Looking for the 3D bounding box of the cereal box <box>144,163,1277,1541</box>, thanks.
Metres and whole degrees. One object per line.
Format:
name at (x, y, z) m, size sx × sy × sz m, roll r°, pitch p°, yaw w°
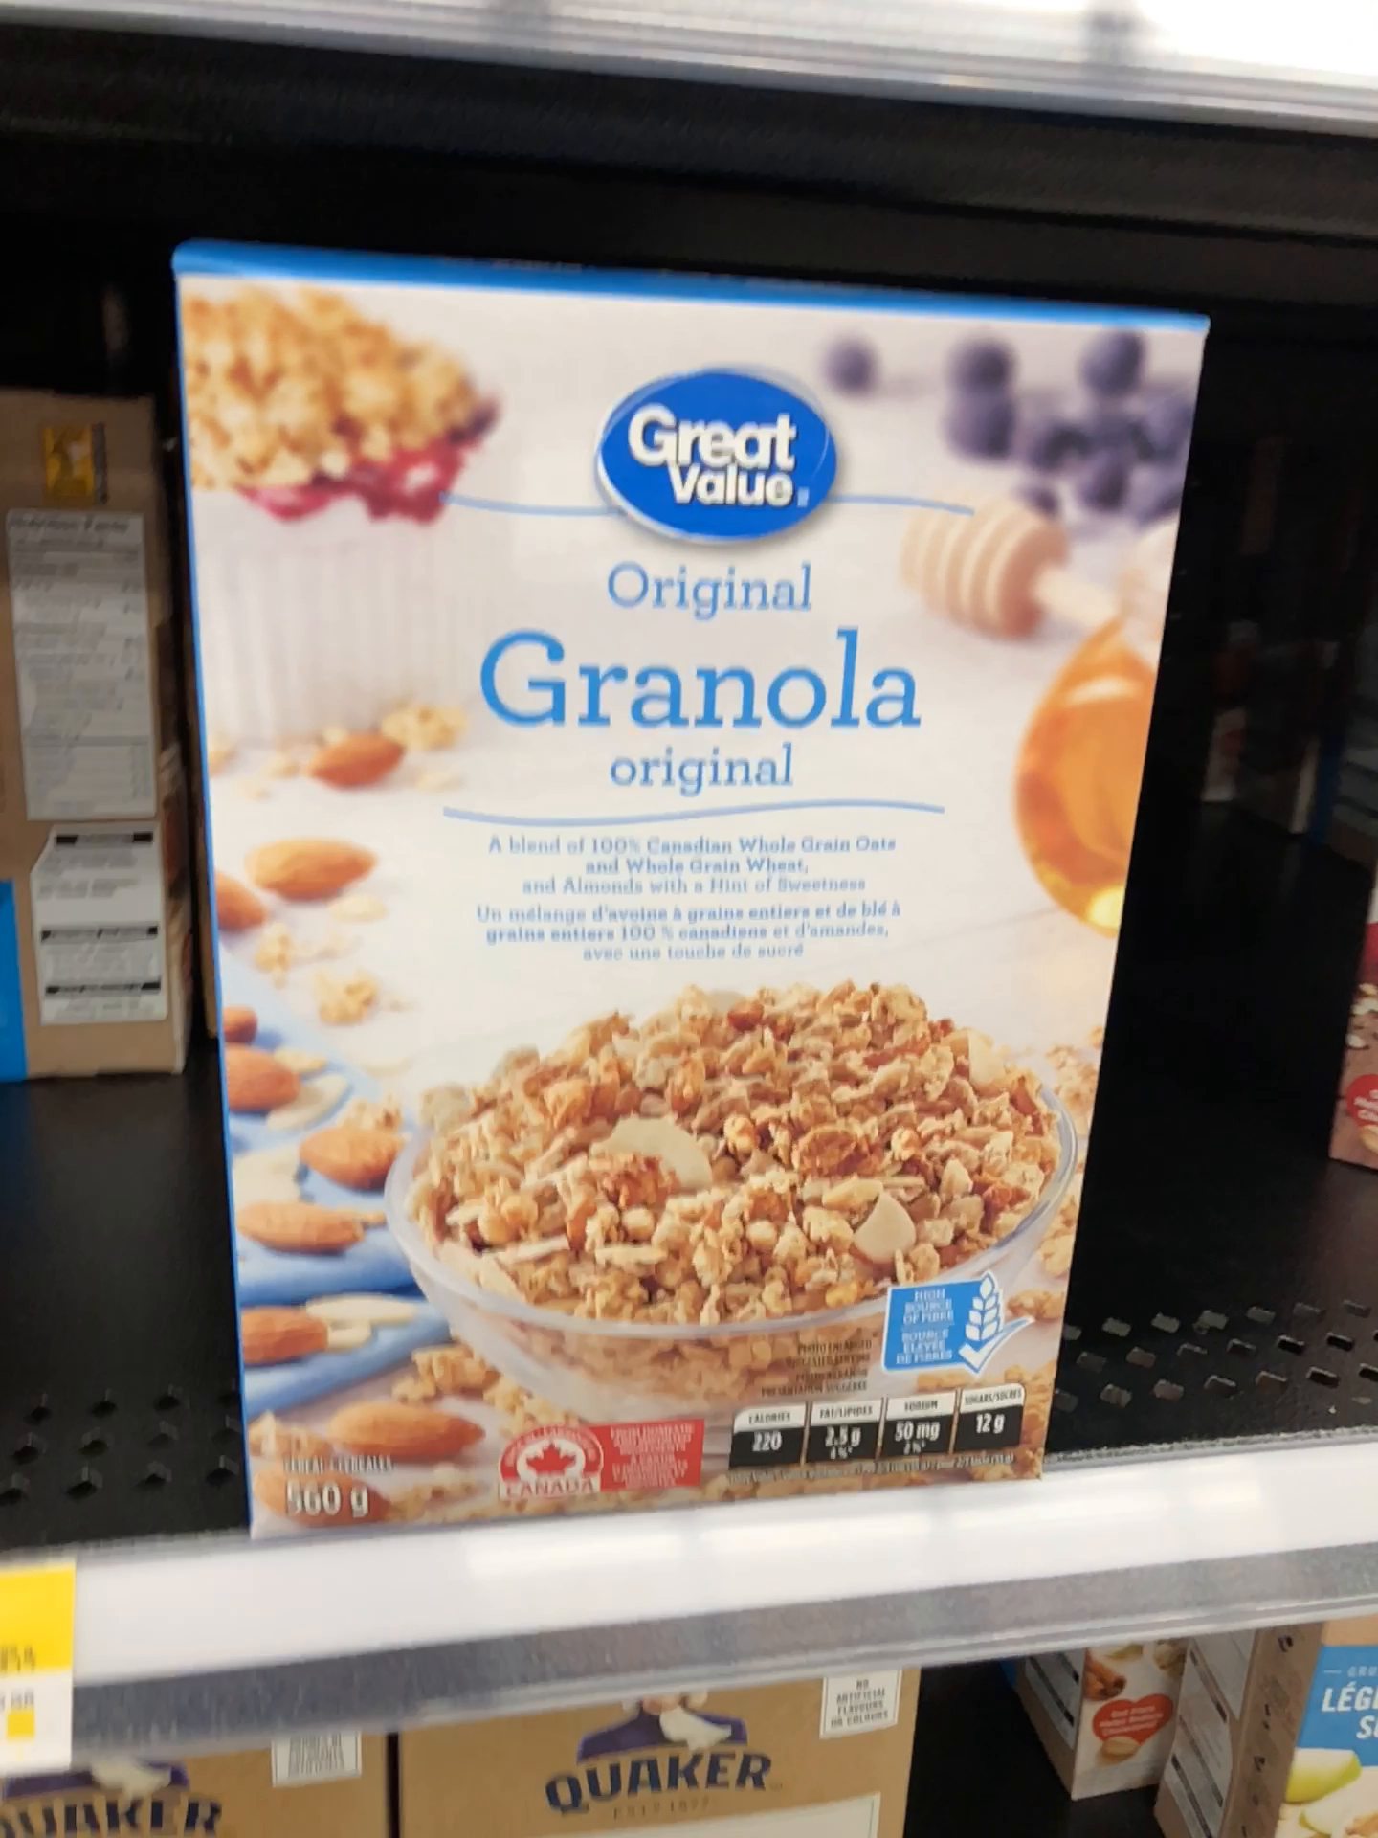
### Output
cereal box at (-0.003, -0.007, 0.280) m, size 0.160 × 0.219 × 0.070 m, roll -1°, pitch 19°, yaw -10°
